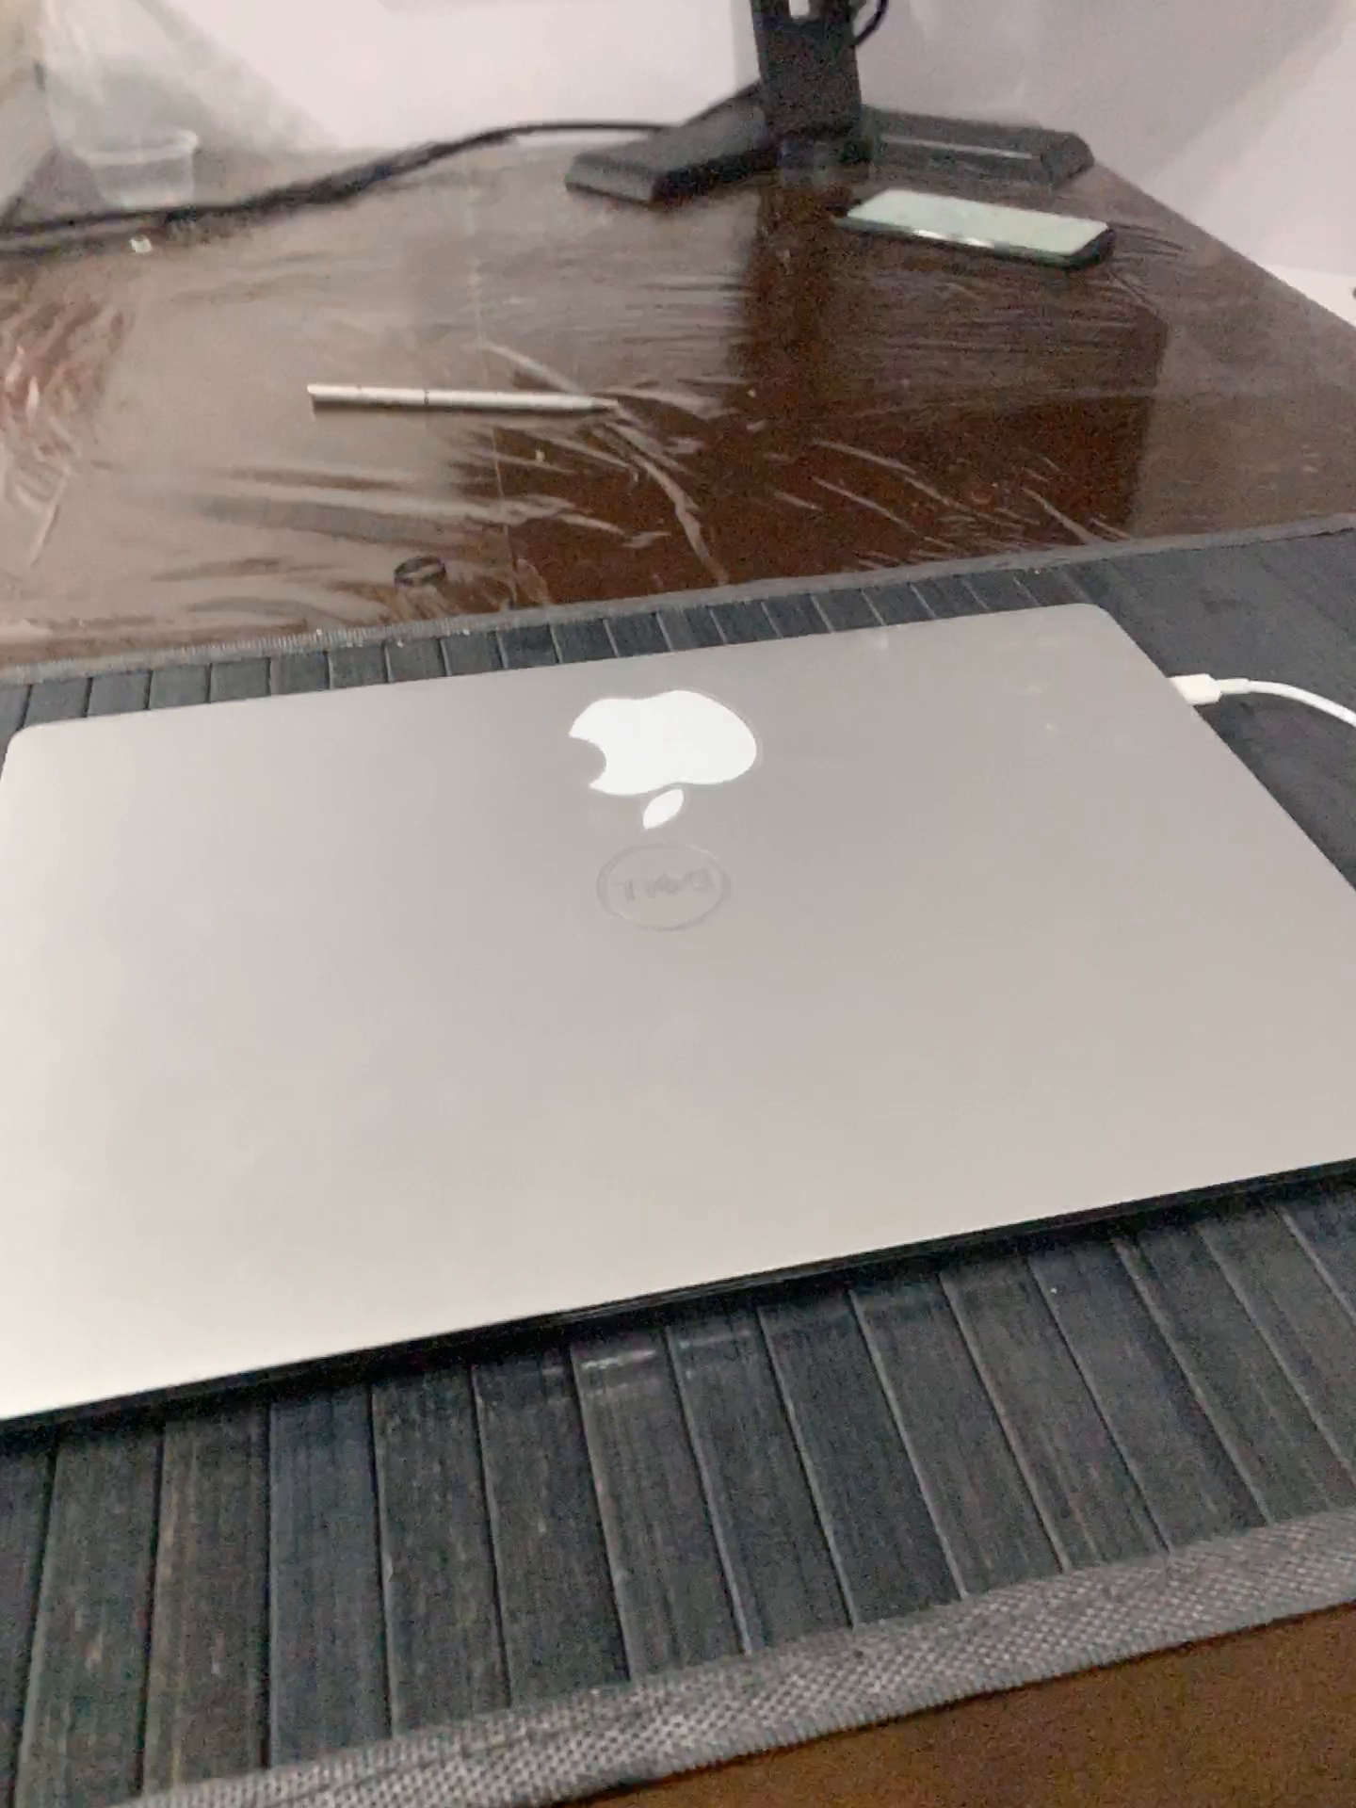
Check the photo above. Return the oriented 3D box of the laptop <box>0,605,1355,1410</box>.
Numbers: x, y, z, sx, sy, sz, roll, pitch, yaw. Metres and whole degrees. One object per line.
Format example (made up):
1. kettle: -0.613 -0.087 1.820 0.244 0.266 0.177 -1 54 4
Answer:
1. laptop: 0.007 -0.004 0.299 0.271 0.001 0.189 -8 41 -9
